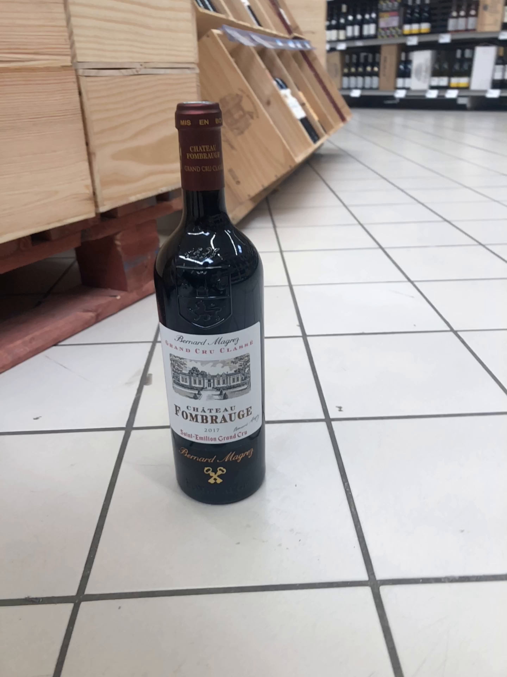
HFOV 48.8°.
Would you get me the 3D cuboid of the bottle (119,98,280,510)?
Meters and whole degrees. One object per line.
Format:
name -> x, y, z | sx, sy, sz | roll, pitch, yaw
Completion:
bottle -> -0.026, -0.019, 0.414 | 0.090, 0.288, 0.090 | -1, 24, 1
